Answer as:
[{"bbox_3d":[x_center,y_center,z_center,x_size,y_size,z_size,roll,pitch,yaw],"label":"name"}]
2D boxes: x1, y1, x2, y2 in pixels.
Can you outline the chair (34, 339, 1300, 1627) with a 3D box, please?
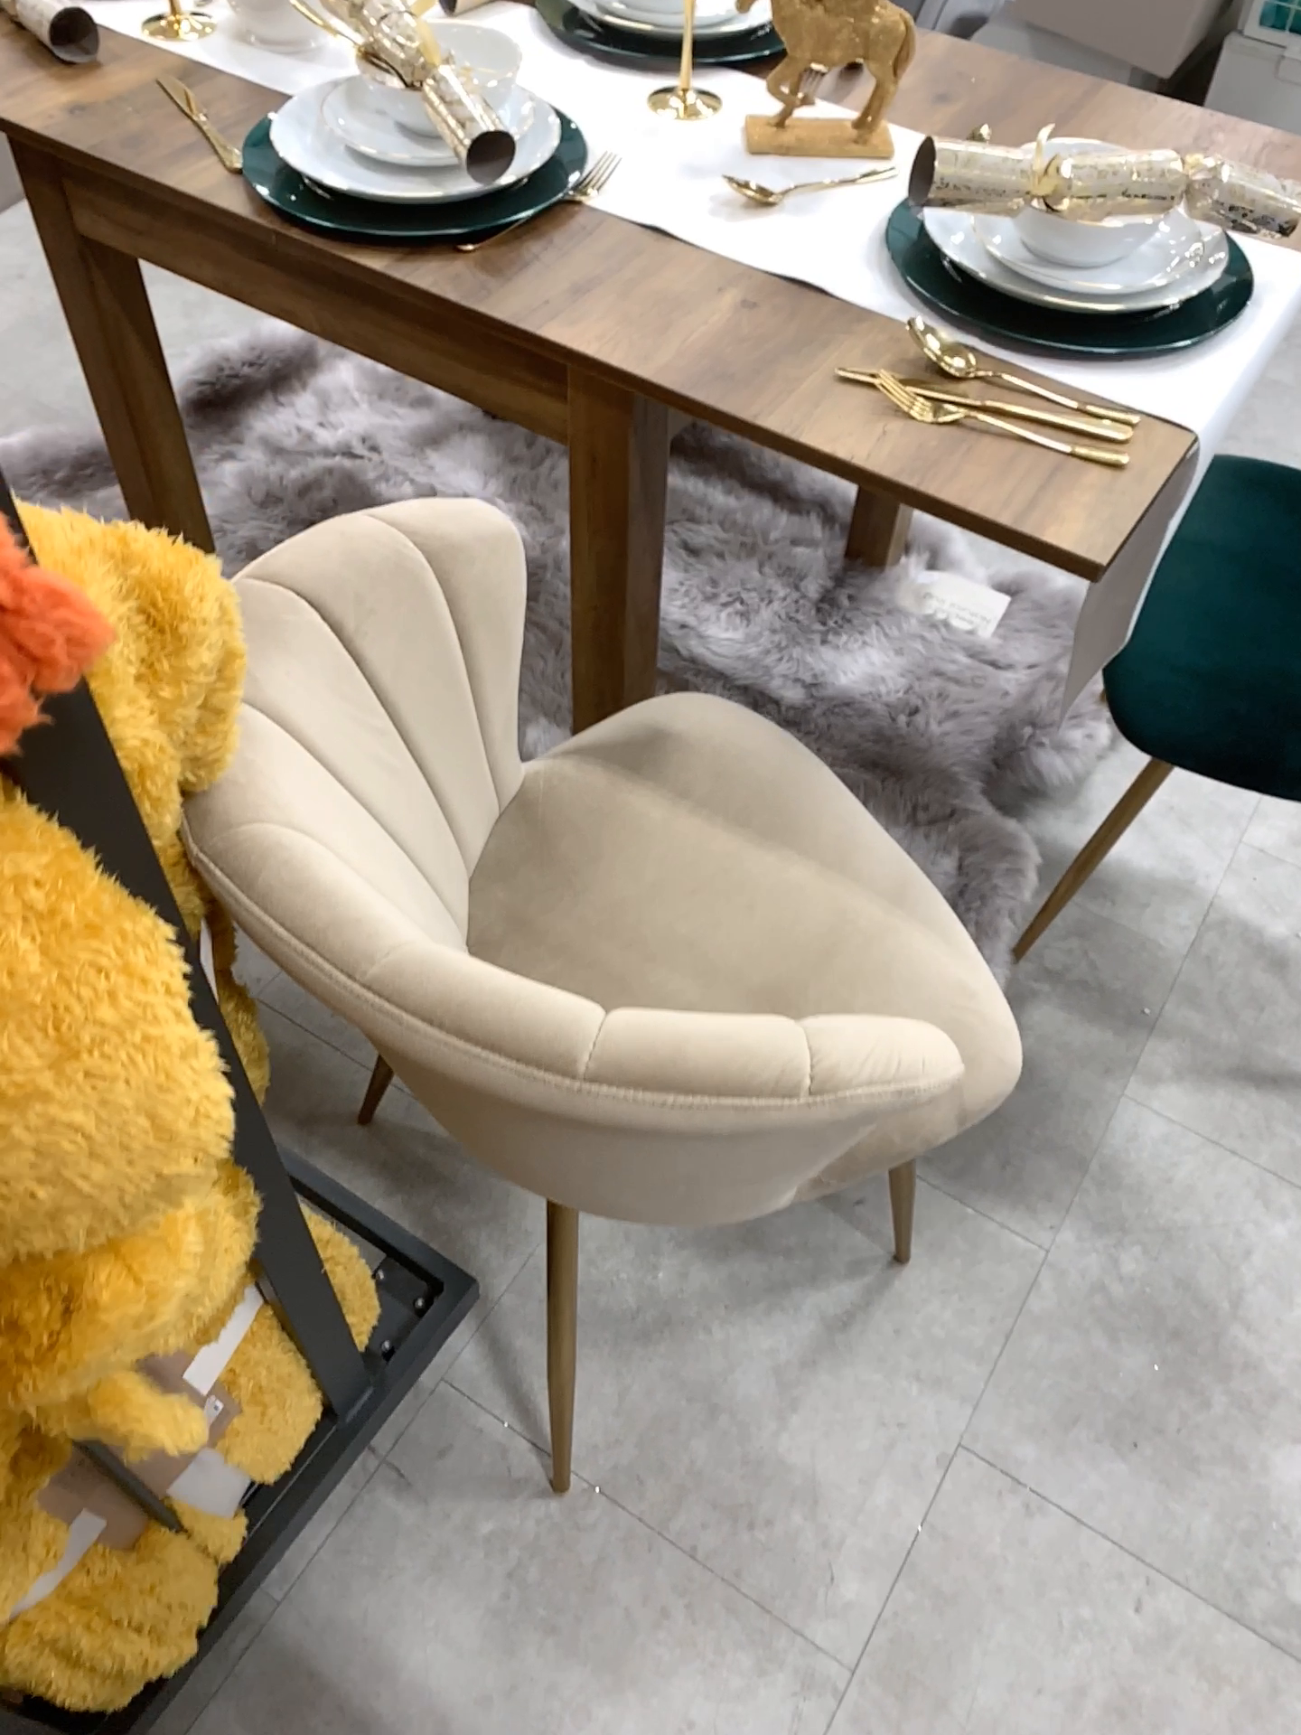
[{"bbox_3d":[-0.010,0.098,1.052,0.574,0.667,0.565,-25,57,-21],"label":"chair"}]
